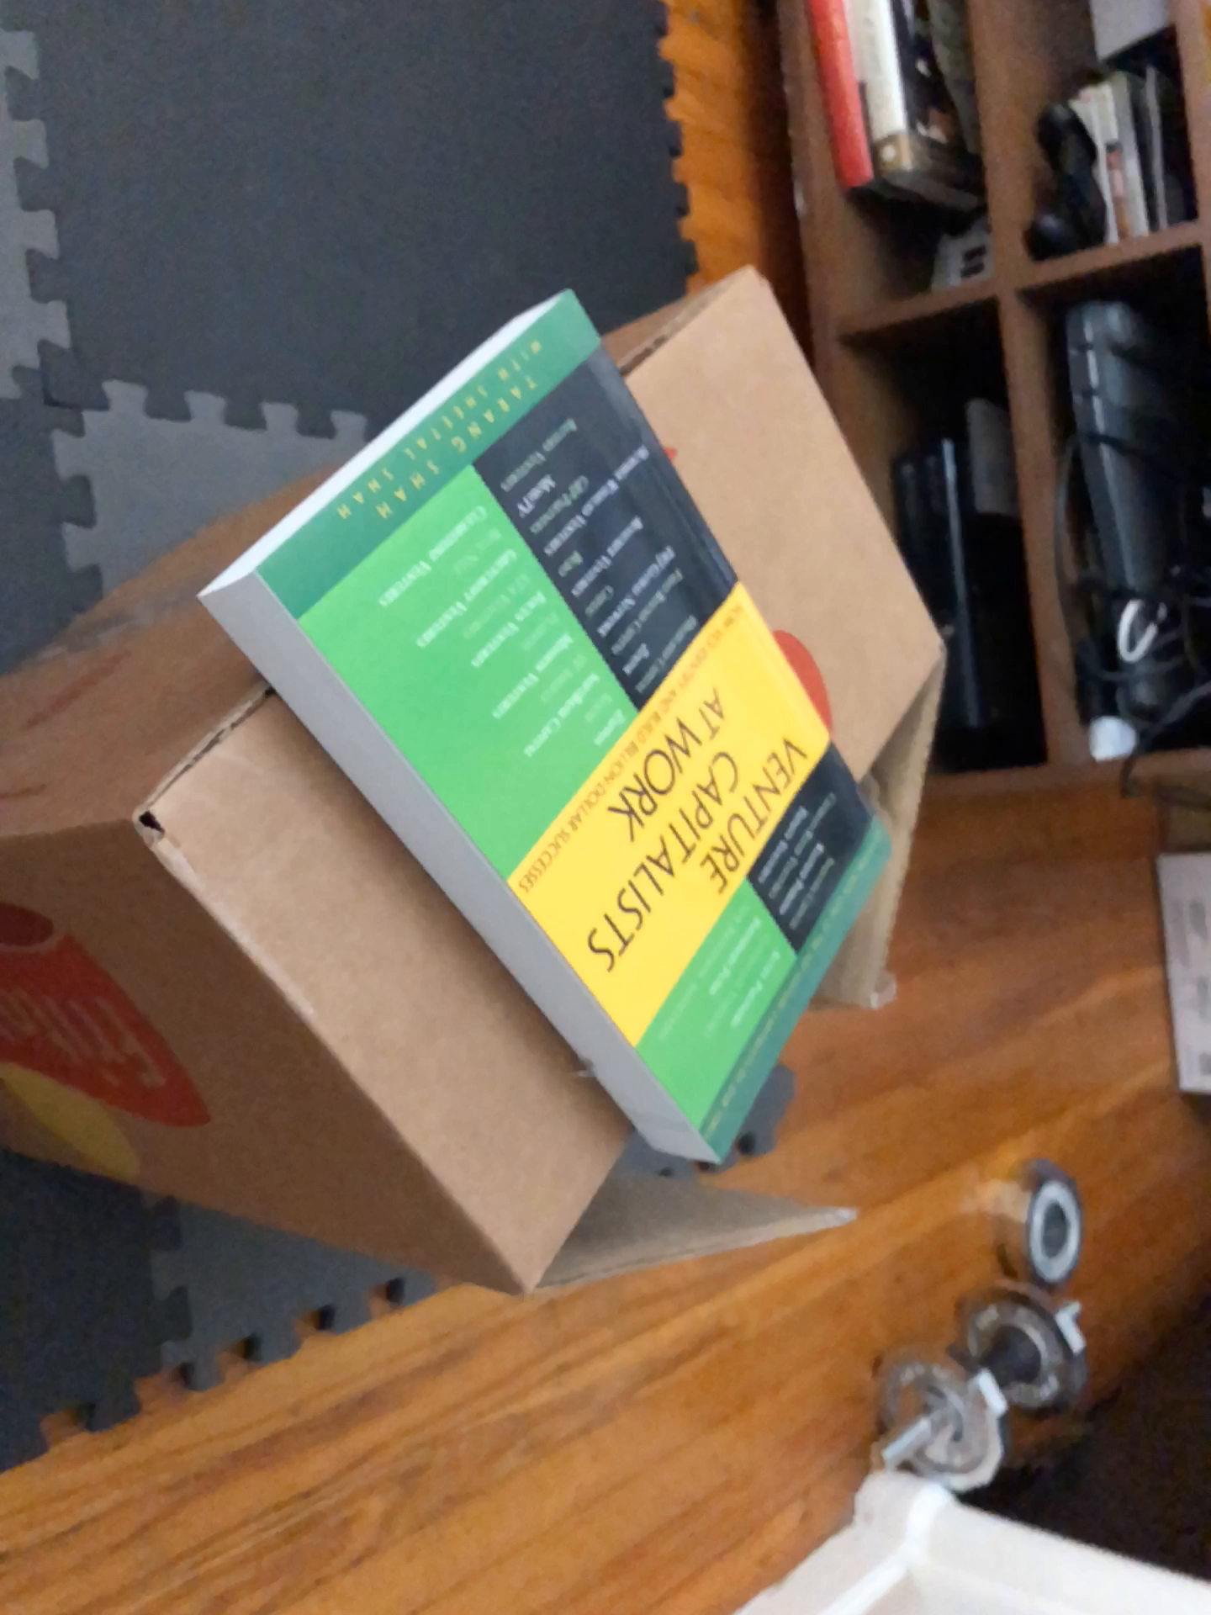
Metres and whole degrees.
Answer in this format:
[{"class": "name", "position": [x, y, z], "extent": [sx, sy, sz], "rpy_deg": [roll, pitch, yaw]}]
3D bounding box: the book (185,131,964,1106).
[{"class": "book", "position": [0.015, -0.054, 0.431], "extent": [0.260, 0.040, 0.161], "rpy_deg": [54, 52, -24]}]
